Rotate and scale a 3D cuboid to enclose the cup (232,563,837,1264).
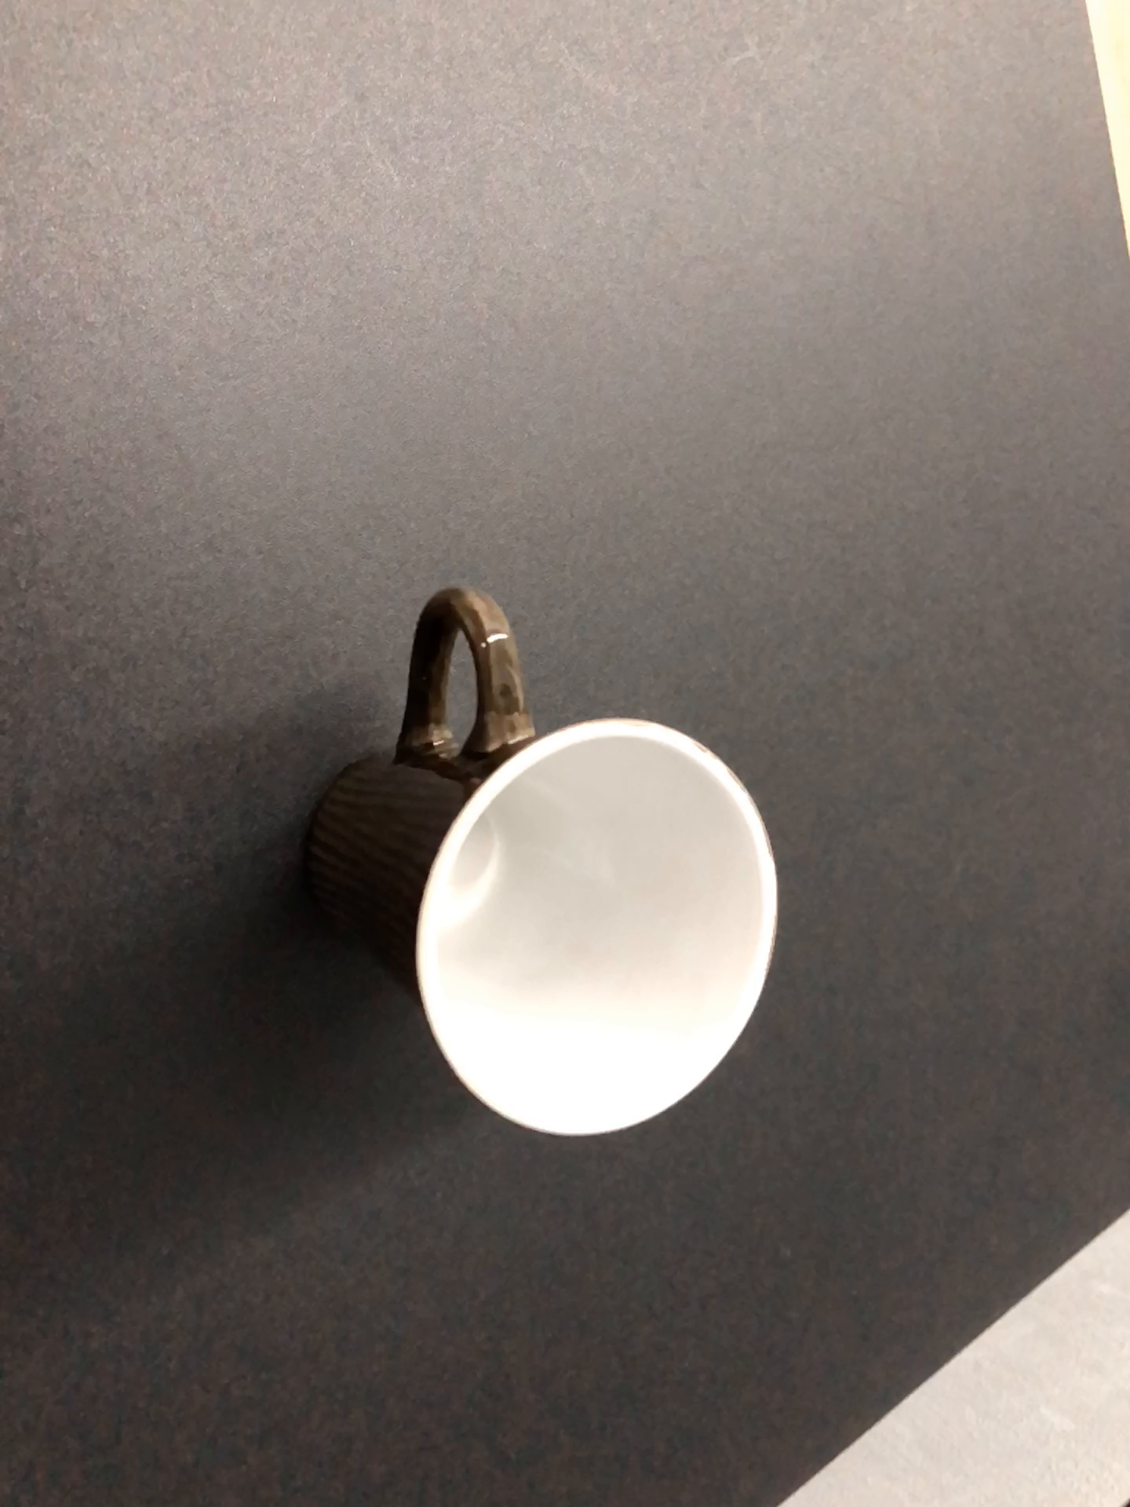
[{"bbox_3d":[-0.007,0.018,0.214,0.065,0.069,0.089,-15,102,-28],"label":"cup"}]
